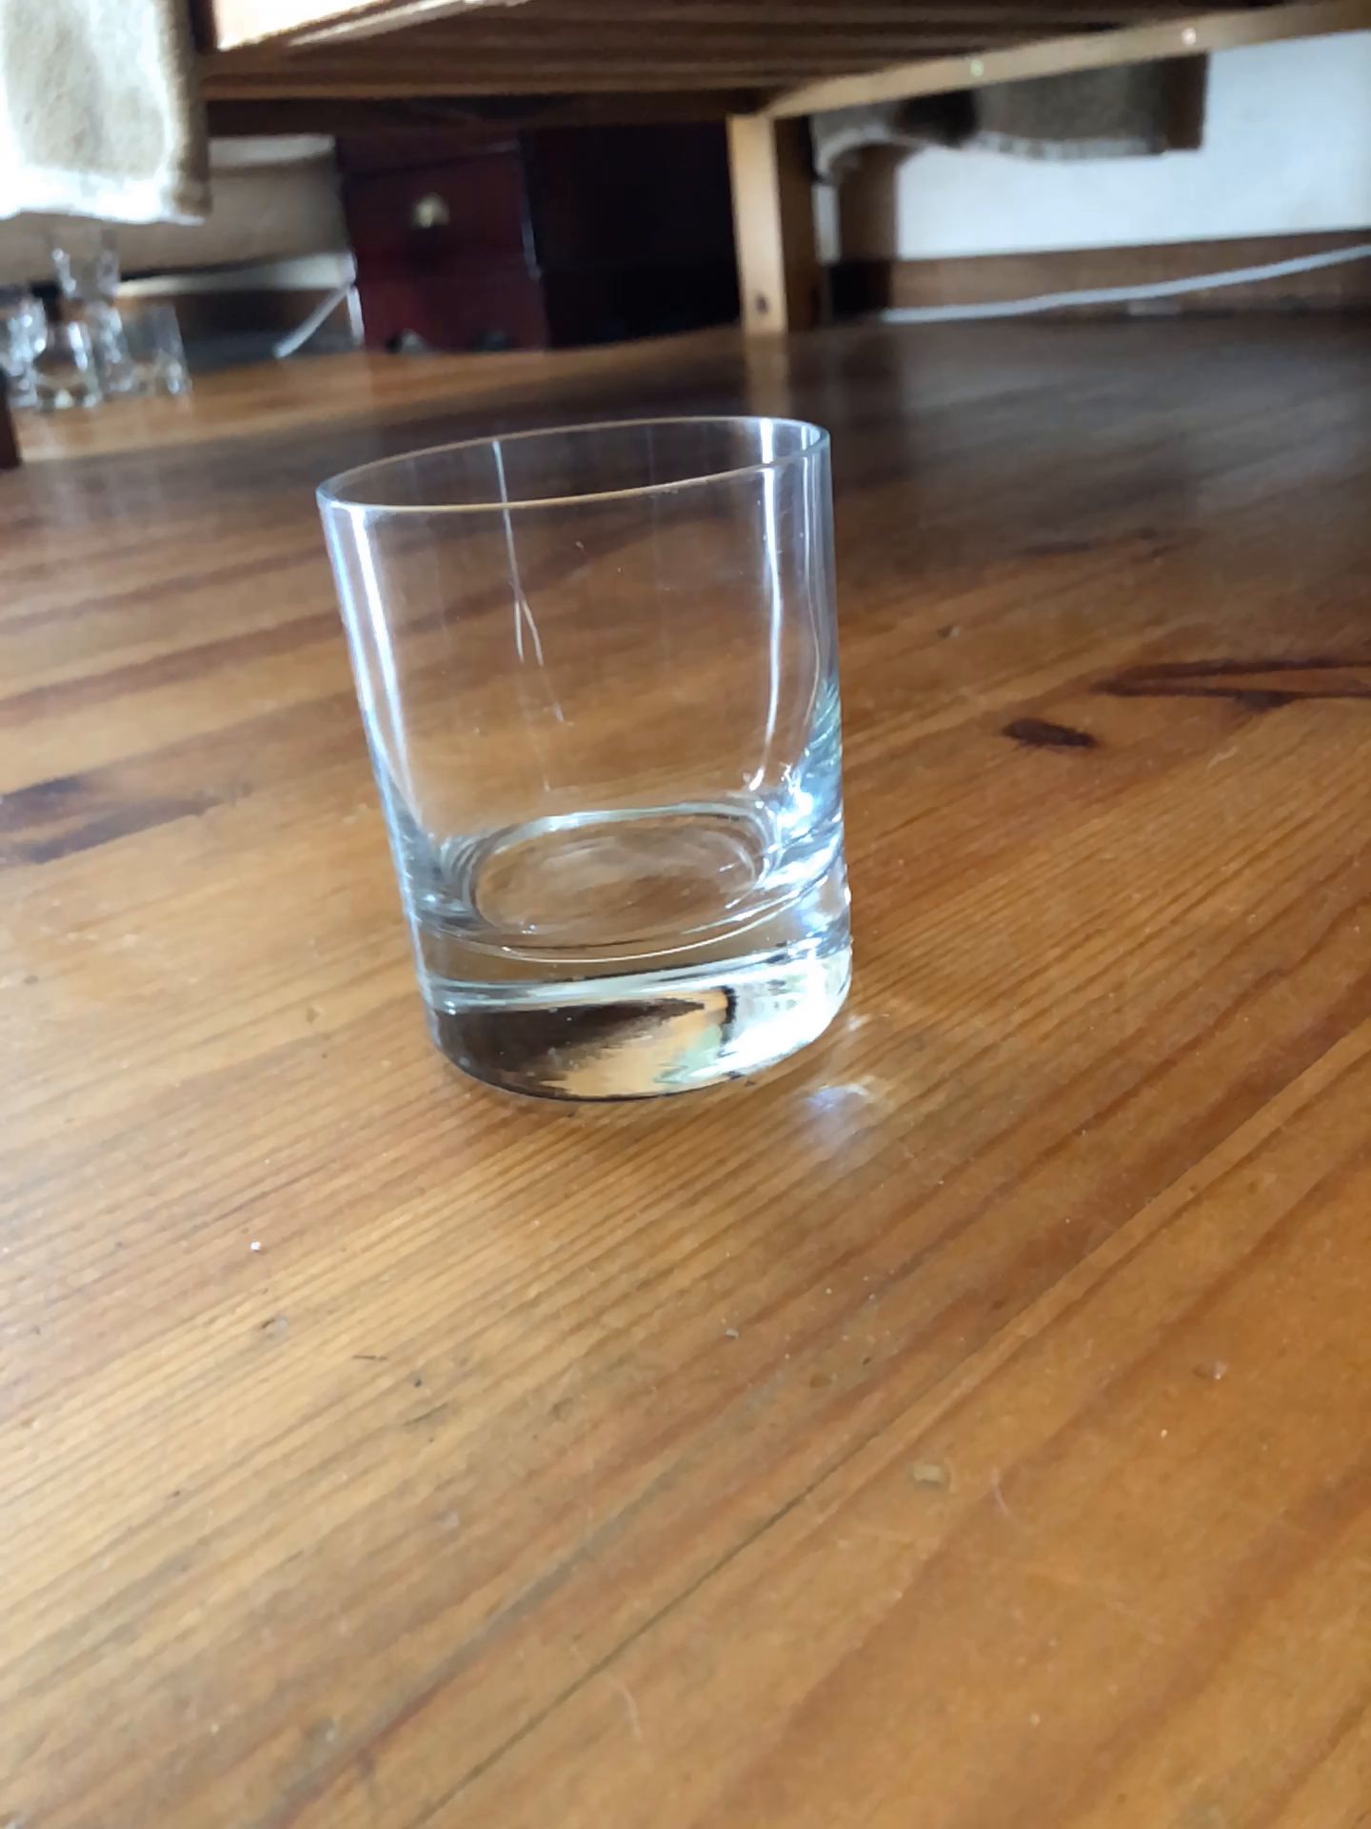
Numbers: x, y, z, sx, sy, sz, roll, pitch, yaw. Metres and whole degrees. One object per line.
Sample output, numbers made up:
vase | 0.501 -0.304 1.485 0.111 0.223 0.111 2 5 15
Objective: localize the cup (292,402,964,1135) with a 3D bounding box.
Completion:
cup | -0.009 -0.030 0.254 0.087 0.090 0.083 -5 24 2
